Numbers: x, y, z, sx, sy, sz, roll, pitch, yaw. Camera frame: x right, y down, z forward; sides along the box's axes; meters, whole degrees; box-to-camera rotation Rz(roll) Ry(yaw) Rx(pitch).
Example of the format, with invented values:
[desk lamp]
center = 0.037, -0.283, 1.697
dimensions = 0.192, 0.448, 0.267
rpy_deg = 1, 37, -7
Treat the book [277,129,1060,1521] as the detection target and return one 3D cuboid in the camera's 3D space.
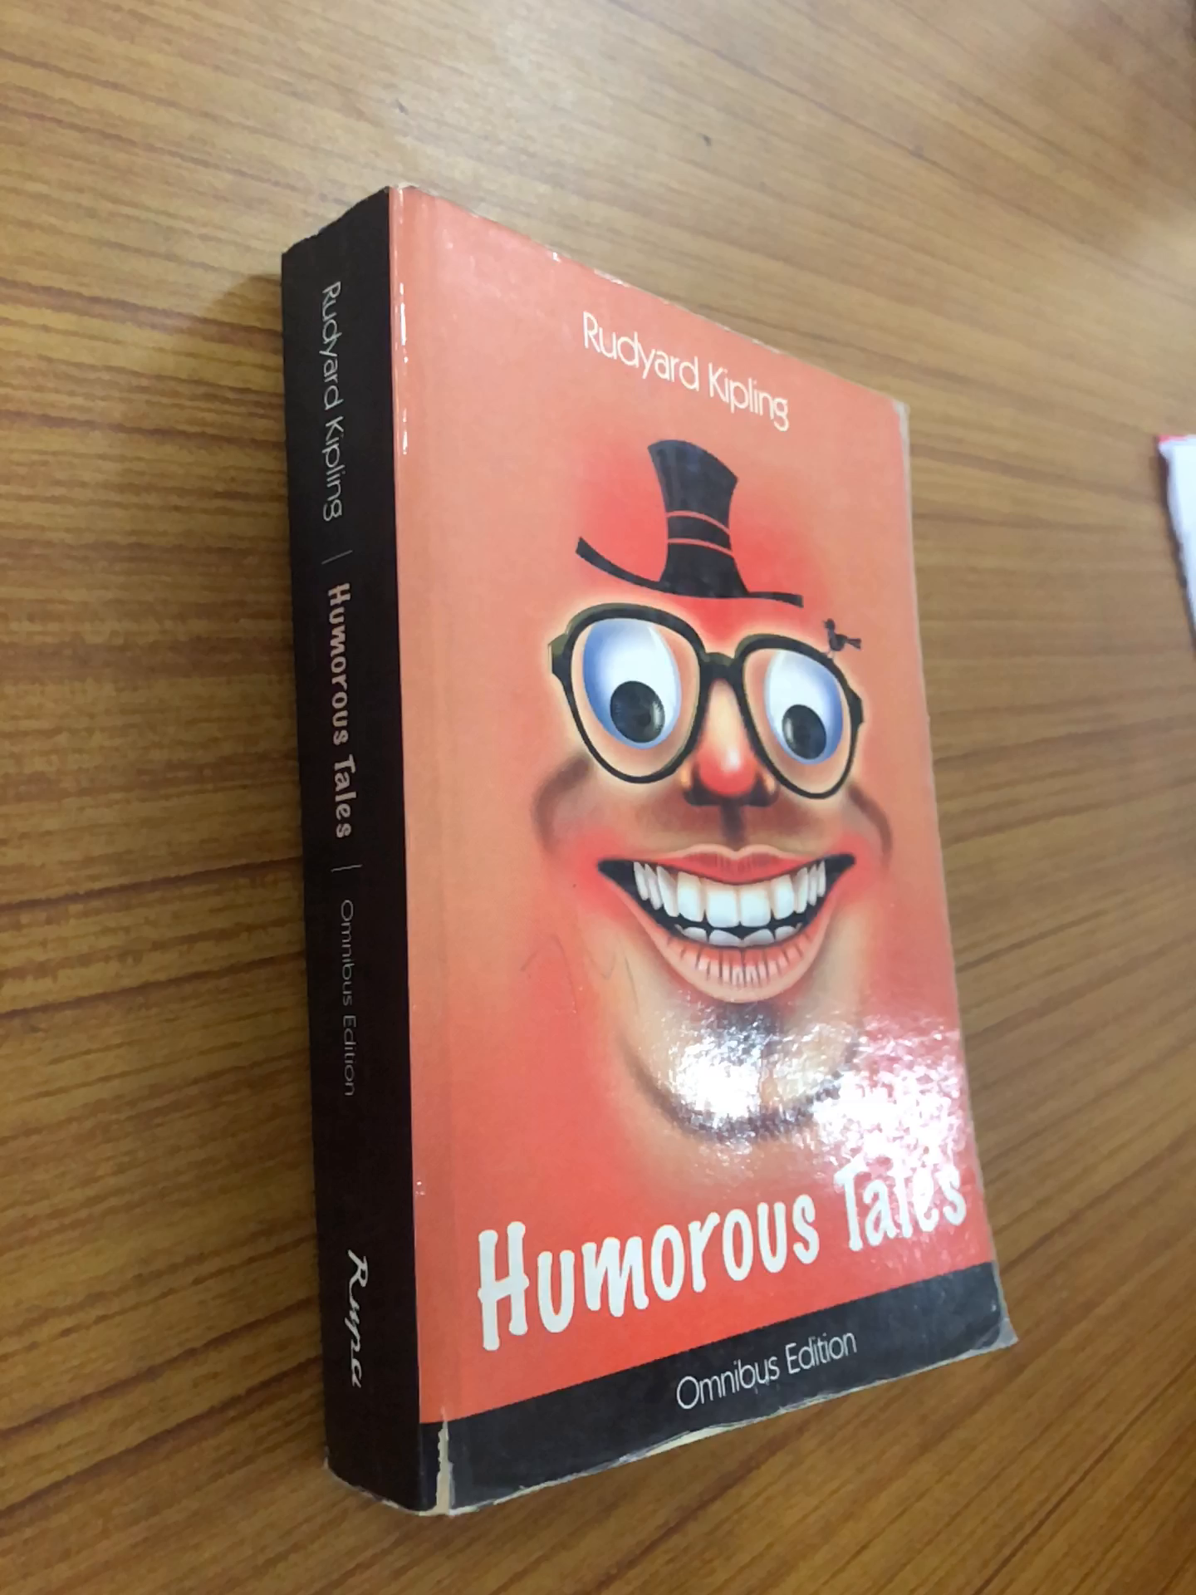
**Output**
[book]
center = 0.015, 0.002, 0.237
dimensions = 0.131, 0.040, 0.190
rpy_deg = 3, 80, -36
